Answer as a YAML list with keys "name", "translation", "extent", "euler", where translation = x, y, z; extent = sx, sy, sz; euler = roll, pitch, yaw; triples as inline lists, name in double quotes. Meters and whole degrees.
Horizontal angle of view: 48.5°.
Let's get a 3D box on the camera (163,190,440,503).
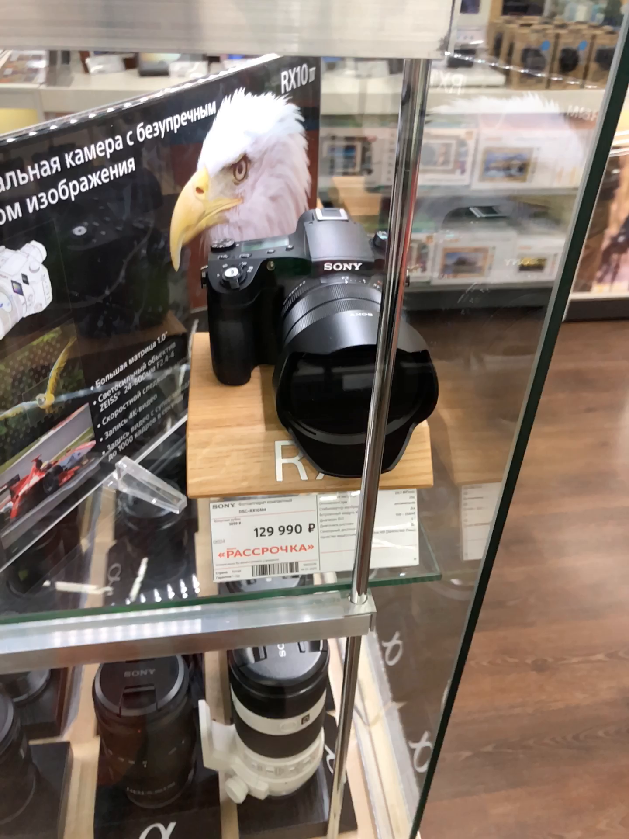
- name: "camera"
  translation: [-0.021, -0.055, 0.413]
  extent: [0.126, 0.099, 0.179]
  euler: [-4, 37, -9]
